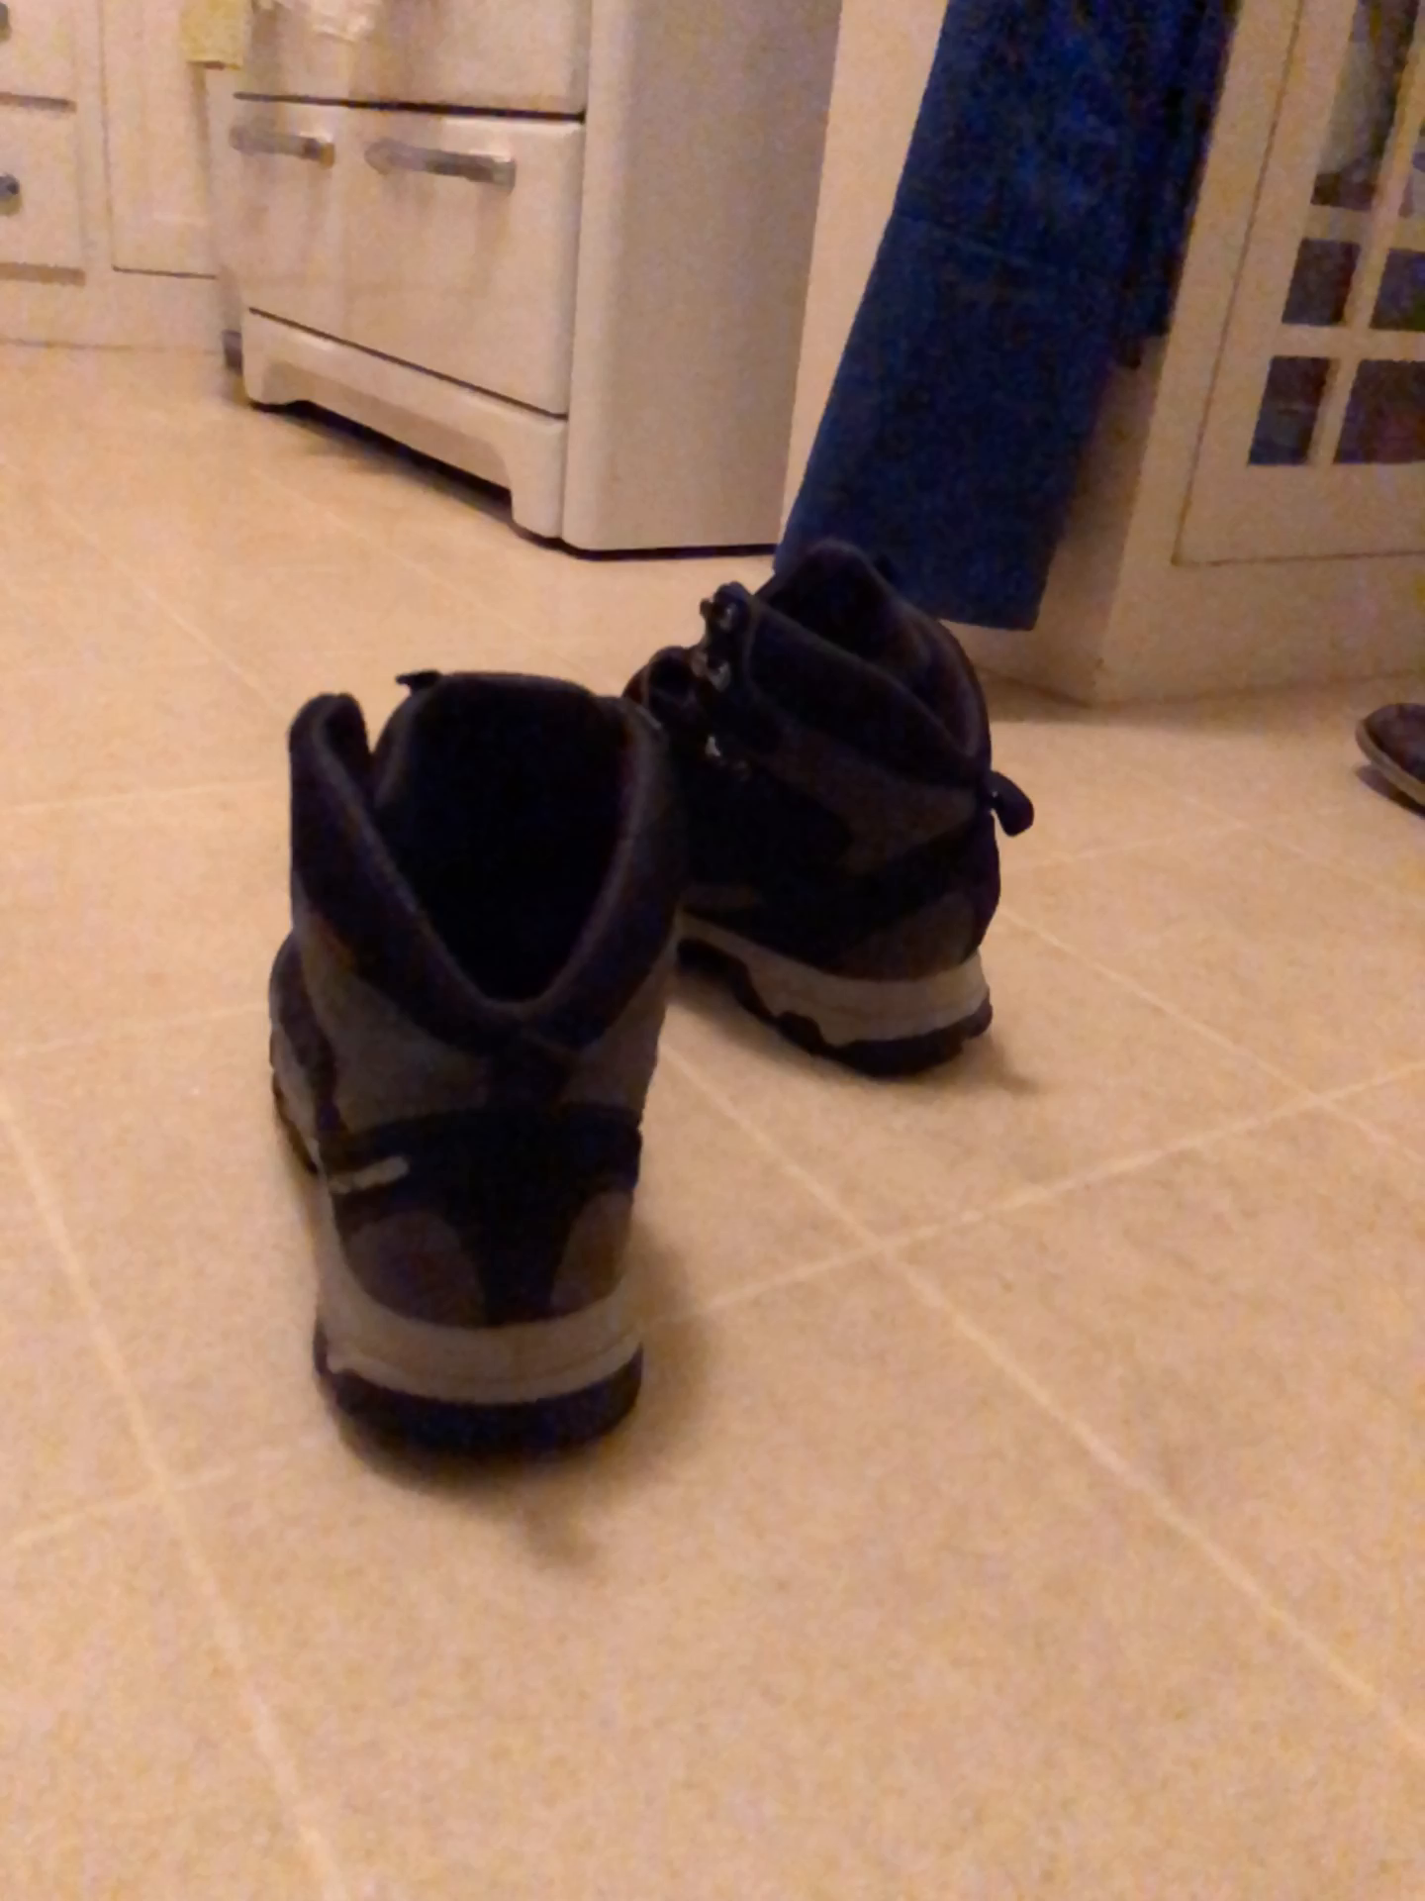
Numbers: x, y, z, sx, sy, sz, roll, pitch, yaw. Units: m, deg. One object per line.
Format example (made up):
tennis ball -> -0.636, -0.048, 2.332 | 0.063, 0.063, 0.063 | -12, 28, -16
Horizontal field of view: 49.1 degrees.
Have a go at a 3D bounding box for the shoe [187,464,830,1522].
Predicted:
shoe -> -0.078, -0.019, 0.484 | 0.126, 0.195, 0.311 | 1, 26, -13

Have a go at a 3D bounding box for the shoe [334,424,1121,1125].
shoe -> -0.012, -0.091, 0.652 | 0.299, 0.195, 0.117 | 23, 30, 31
